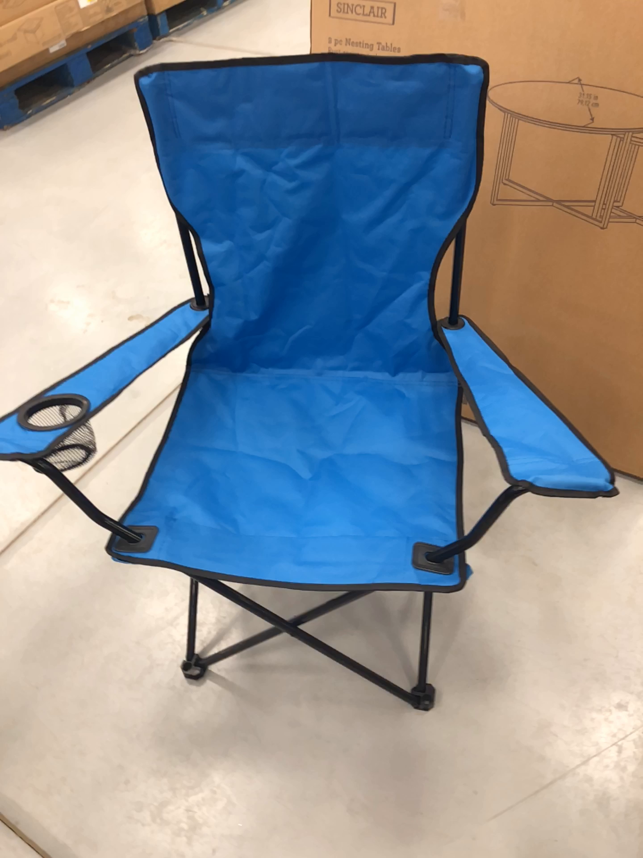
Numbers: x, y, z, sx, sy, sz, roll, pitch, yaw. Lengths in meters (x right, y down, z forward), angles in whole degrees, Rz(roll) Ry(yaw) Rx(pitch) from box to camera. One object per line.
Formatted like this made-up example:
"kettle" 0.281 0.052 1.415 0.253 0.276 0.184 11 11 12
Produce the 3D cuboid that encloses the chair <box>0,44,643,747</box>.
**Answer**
"chair" -0.026 -0.025 1.103 0.790 0.837 0.622 3 47 9
